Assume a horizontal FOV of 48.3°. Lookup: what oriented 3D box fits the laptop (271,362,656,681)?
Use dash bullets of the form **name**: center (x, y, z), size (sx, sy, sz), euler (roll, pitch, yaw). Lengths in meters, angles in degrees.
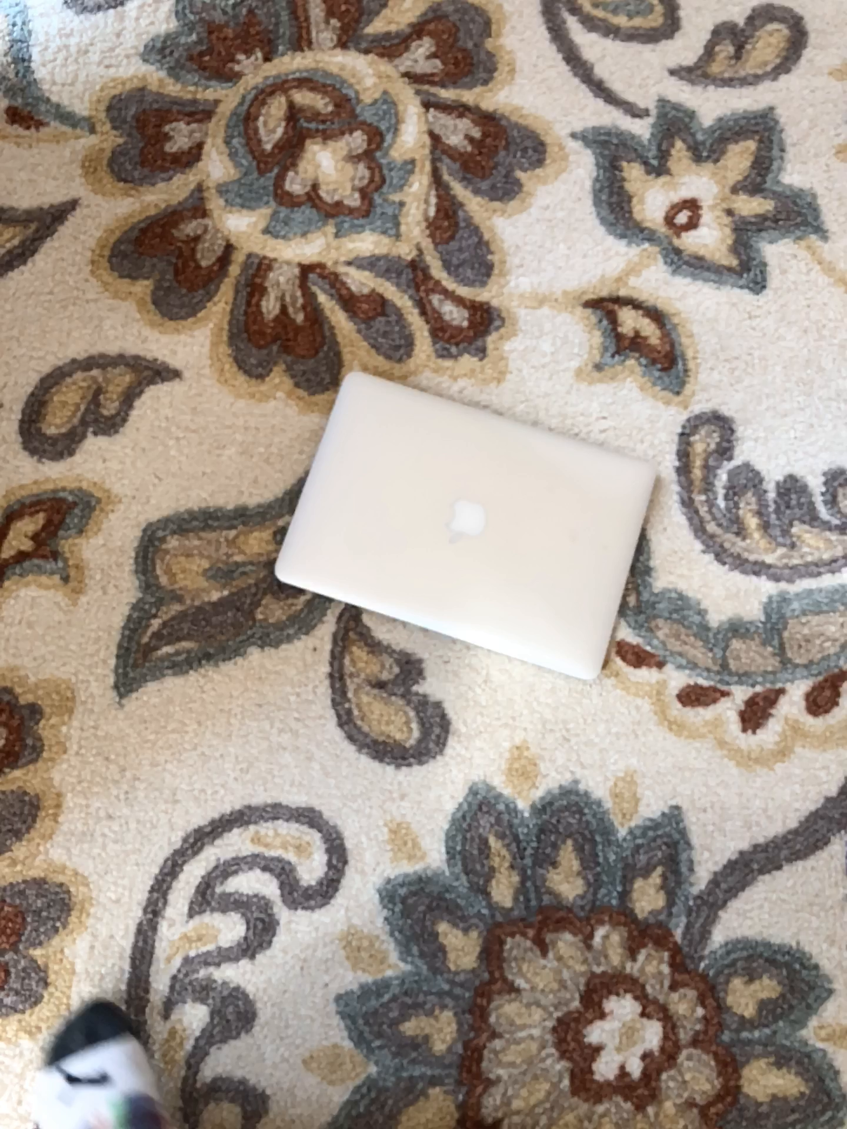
- **laptop**: center (0.039, -0.043, 0.837), size (0.295, 0.001, 0.207), euler (18, 77, 2)
